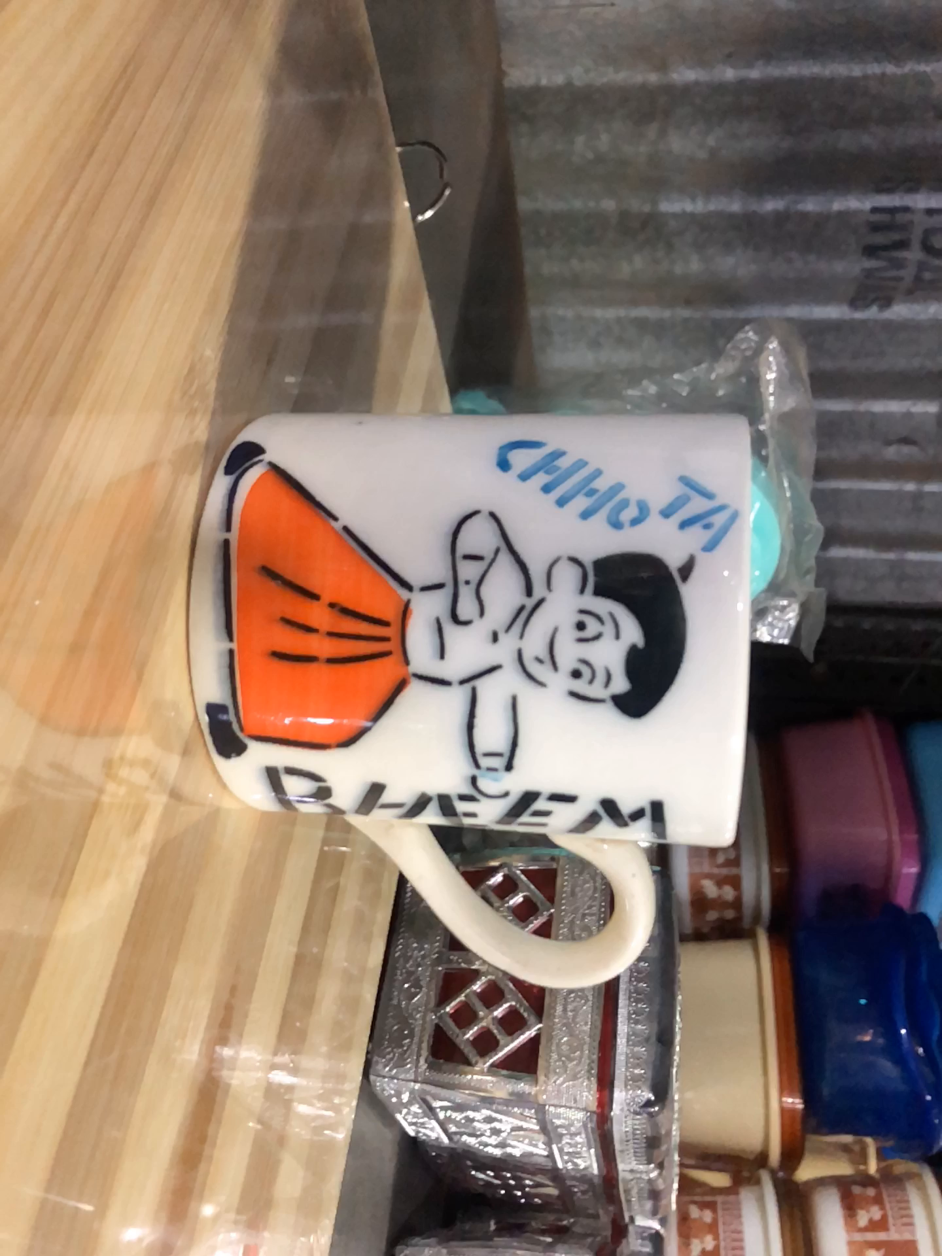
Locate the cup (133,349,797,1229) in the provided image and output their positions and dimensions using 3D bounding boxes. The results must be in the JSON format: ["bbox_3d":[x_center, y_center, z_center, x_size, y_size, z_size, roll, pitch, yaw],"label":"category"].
[{"bbox_3d":[0.008,0.016,0.191,0.100,0.080,0.120,-63,153,-68],"label":"cup"}]
